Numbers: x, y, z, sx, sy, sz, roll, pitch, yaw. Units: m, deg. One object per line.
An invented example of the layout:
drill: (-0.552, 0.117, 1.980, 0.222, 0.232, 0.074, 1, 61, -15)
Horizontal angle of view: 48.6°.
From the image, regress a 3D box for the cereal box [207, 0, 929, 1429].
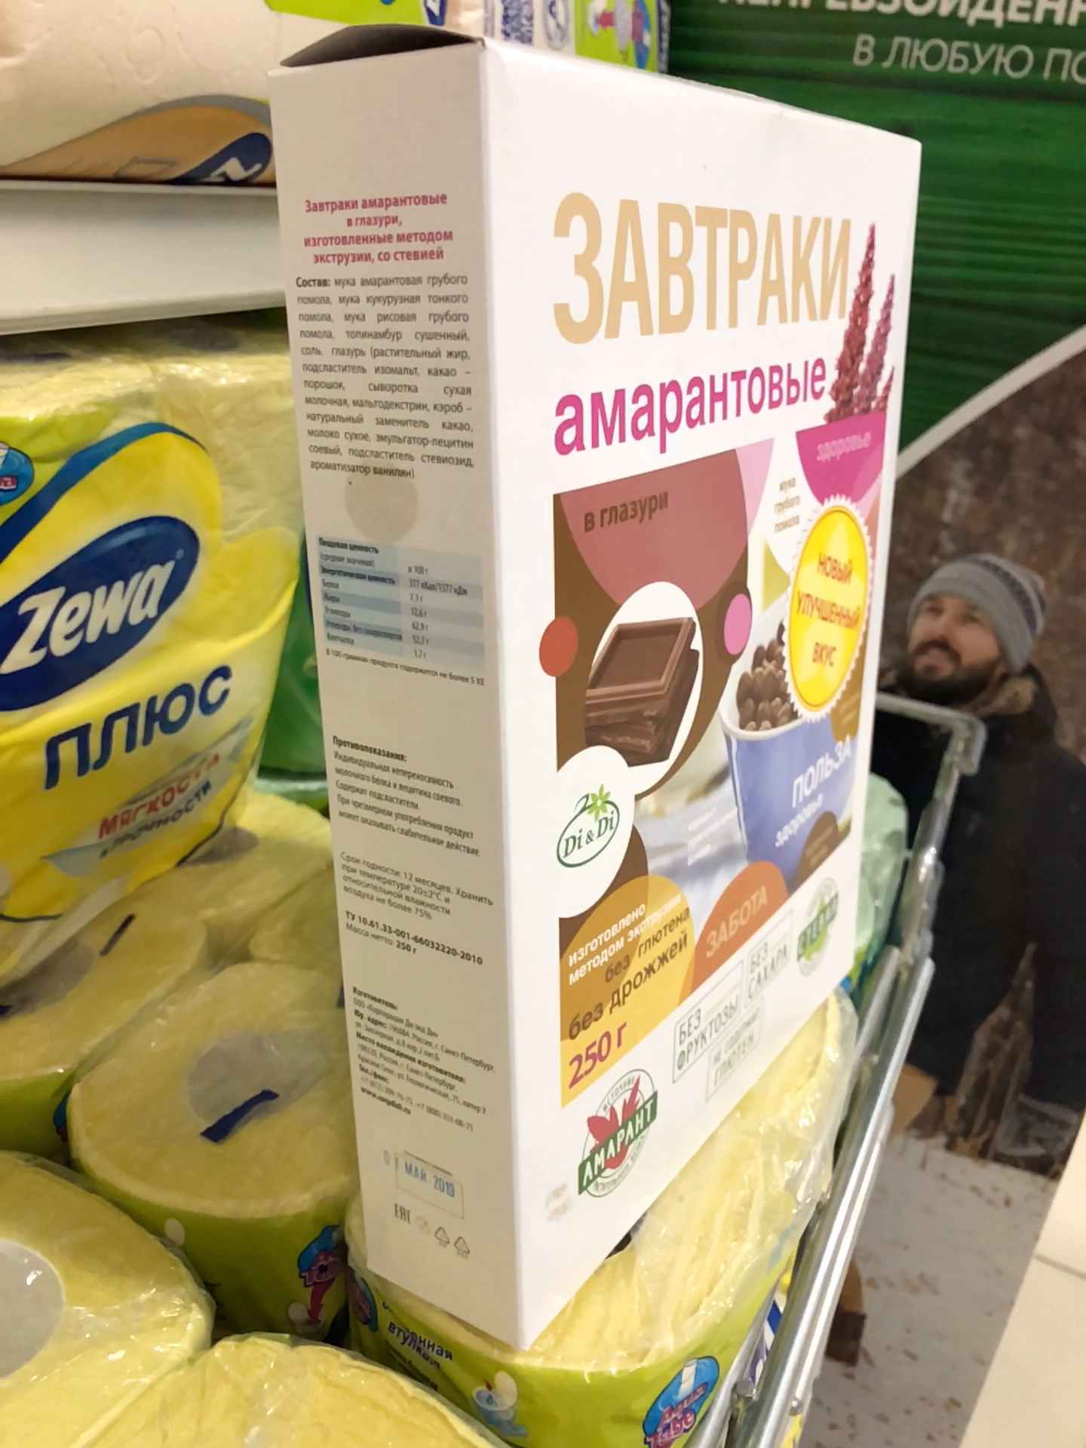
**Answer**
cereal box: (0.027, -0.014, 0.290, 0.050, 0.269, 0.191, 12, 24, 33)
